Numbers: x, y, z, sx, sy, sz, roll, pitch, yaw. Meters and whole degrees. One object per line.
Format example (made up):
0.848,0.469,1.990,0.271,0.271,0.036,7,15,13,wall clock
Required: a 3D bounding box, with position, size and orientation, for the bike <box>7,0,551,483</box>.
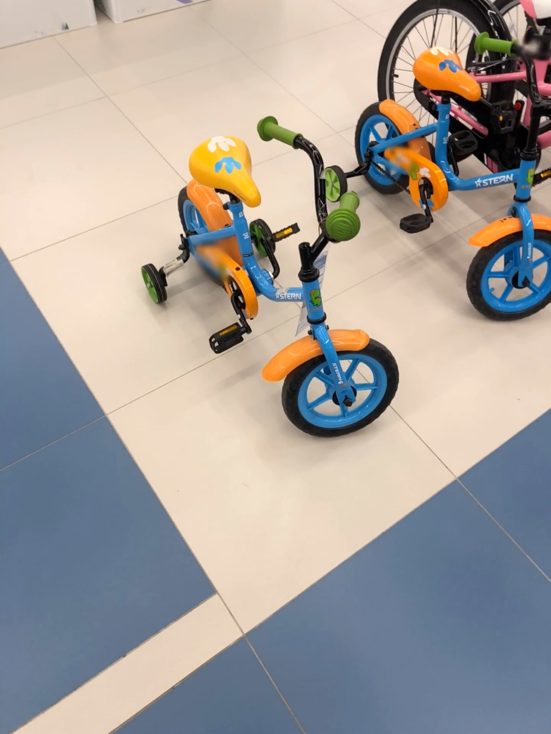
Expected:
-0.011,-0.302,1.324,0.566,0.682,0.751,-37,66,-26,bike
